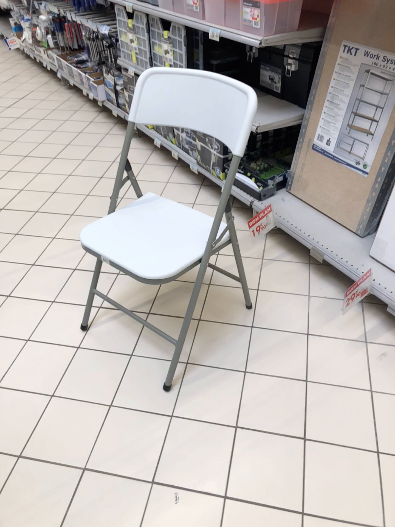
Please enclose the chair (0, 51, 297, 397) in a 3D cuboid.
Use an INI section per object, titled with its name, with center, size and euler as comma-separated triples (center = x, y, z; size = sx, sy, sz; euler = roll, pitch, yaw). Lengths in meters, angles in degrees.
[chair]
center = -0.115, -0.147, 1.325
size = 0.540, 0.745, 0.563
euler = 26, 48, 31
